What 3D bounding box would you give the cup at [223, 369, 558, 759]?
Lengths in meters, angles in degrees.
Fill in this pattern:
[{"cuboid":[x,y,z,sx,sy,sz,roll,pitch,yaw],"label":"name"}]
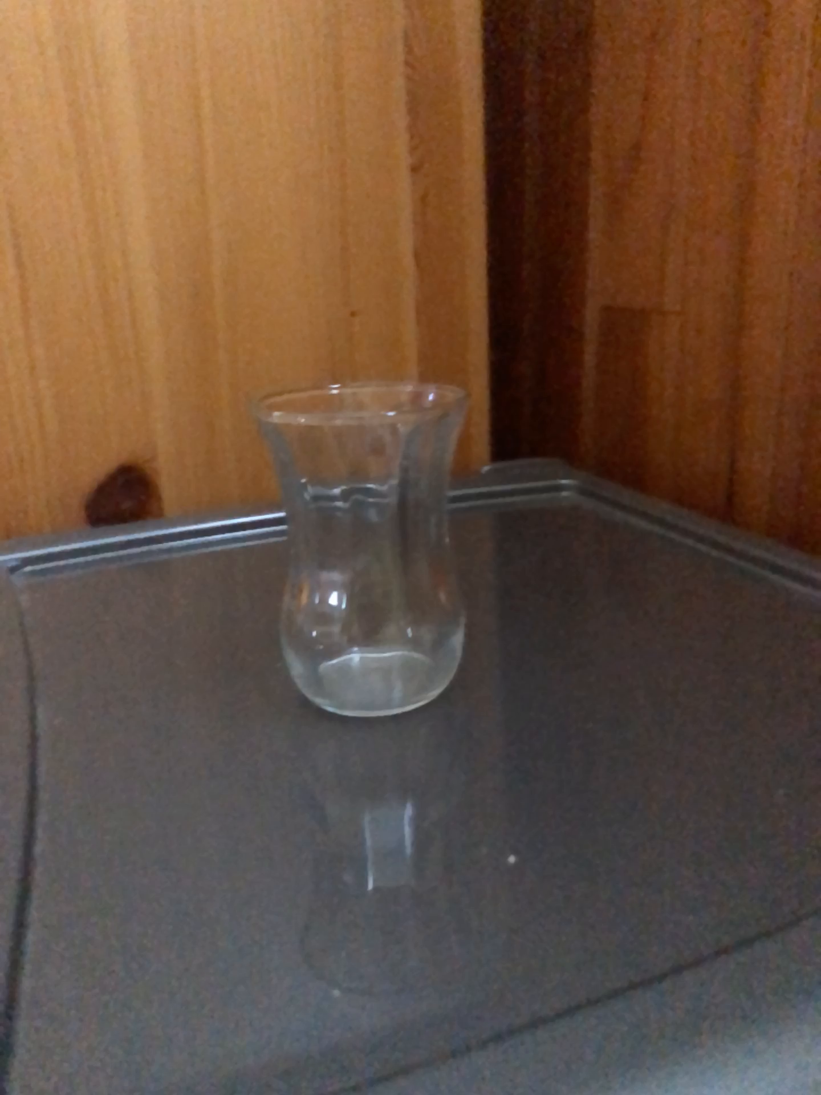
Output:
[{"cuboid":[-0.004,-0.002,0.242,0.060,0.080,0.060,-2,18,1],"label":"cup"}]
